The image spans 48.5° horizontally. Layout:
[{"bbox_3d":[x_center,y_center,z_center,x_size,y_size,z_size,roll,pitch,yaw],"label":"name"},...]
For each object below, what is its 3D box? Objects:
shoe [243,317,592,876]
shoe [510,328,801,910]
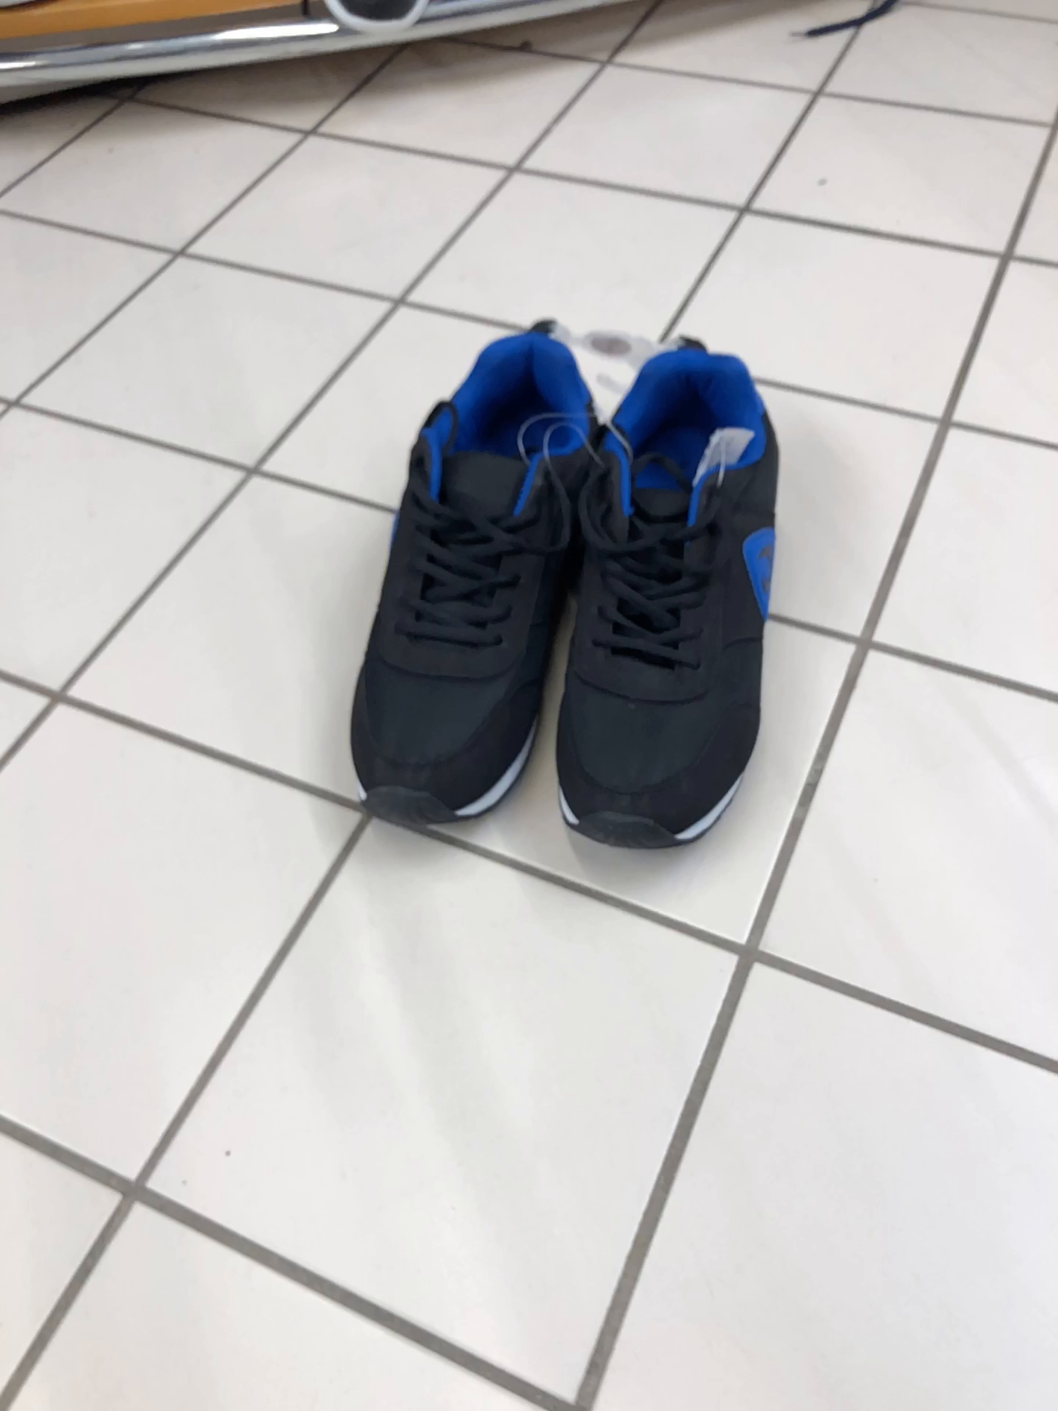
[{"bbox_3d":[-0.041,-0.070,0.623,0.100,0.109,0.292,7,53,10],"label":"shoe"},{"bbox_3d":[0.073,-0.057,0.602,0.100,0.109,0.292,7,53,10],"label":"shoe"}]
